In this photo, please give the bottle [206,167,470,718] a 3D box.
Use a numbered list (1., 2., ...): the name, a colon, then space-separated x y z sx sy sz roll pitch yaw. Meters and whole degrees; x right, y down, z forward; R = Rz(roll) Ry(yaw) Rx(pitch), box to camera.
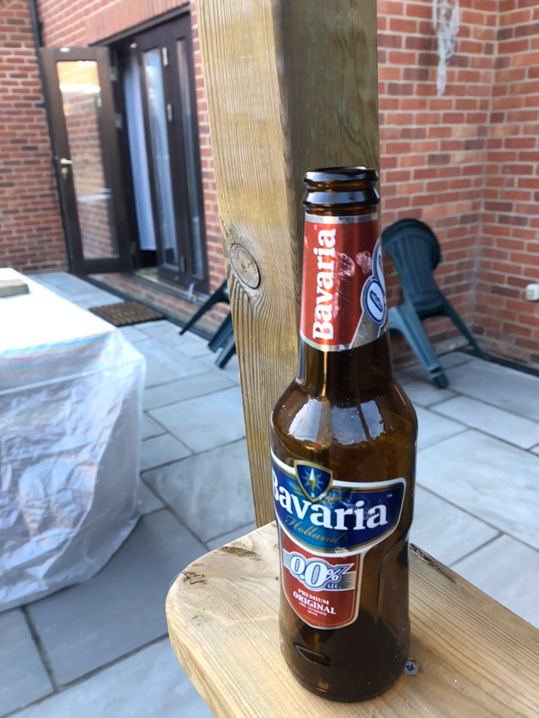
1. bottle: 0.028 0.035 0.238 0.070 0.209 0.060 11 22 33
